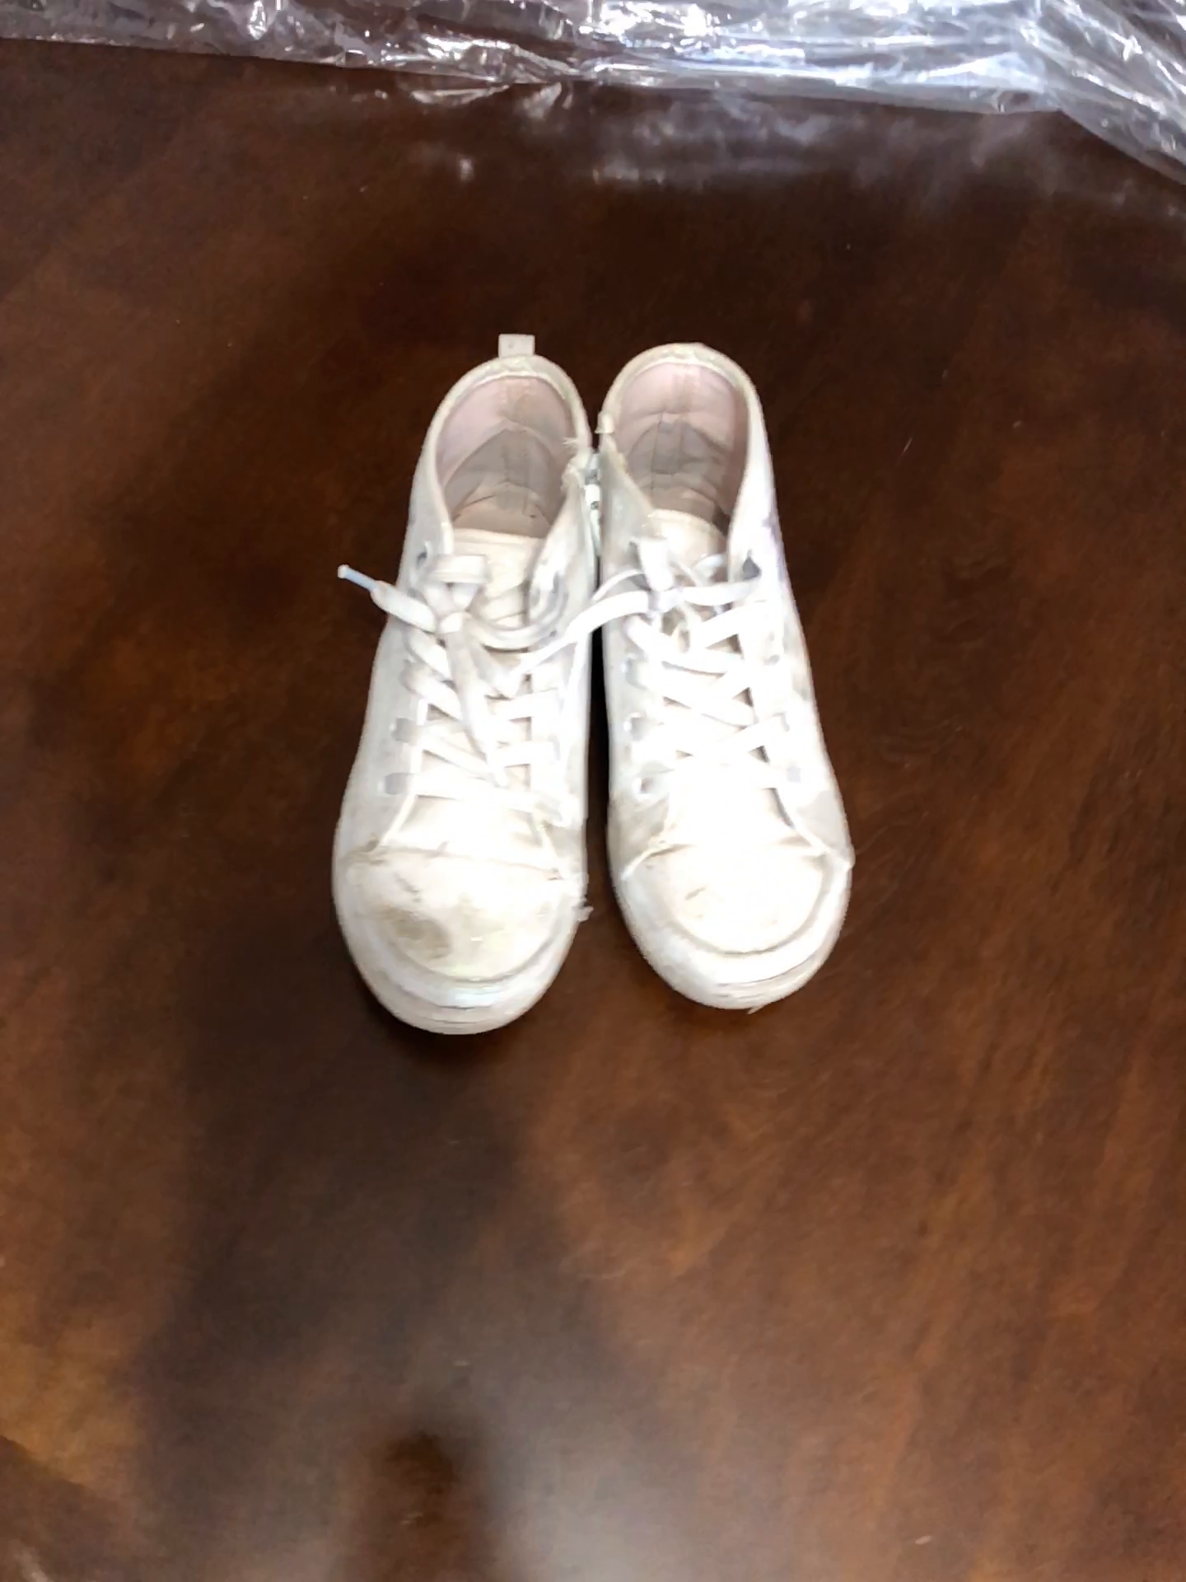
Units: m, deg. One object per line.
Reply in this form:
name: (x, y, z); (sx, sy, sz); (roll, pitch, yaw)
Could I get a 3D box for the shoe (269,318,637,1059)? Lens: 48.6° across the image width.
shoe: (-0.039, -0.035, 0.439); (0.090, 0.100, 0.220); (5, 63, -3)

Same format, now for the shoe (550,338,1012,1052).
shoe: (0.051, -0.036, 0.459); (0.090, 0.100, 0.220); (-7, 64, -9)
